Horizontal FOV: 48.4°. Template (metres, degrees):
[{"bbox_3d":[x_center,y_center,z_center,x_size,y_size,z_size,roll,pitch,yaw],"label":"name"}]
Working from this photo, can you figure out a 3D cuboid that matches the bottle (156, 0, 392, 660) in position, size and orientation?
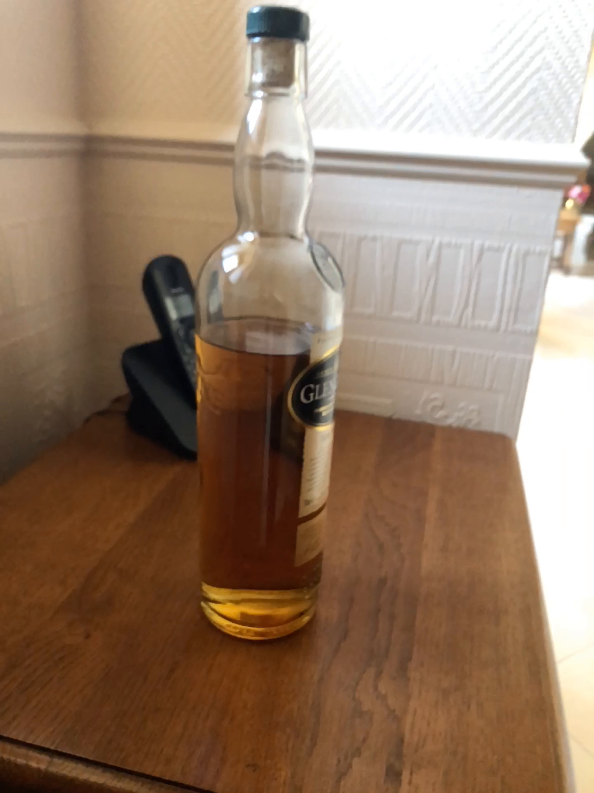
[{"bbox_3d":[-0.014,-0.029,0.349,0.080,0.318,0.091,9,21,14],"label":"bottle"}]
